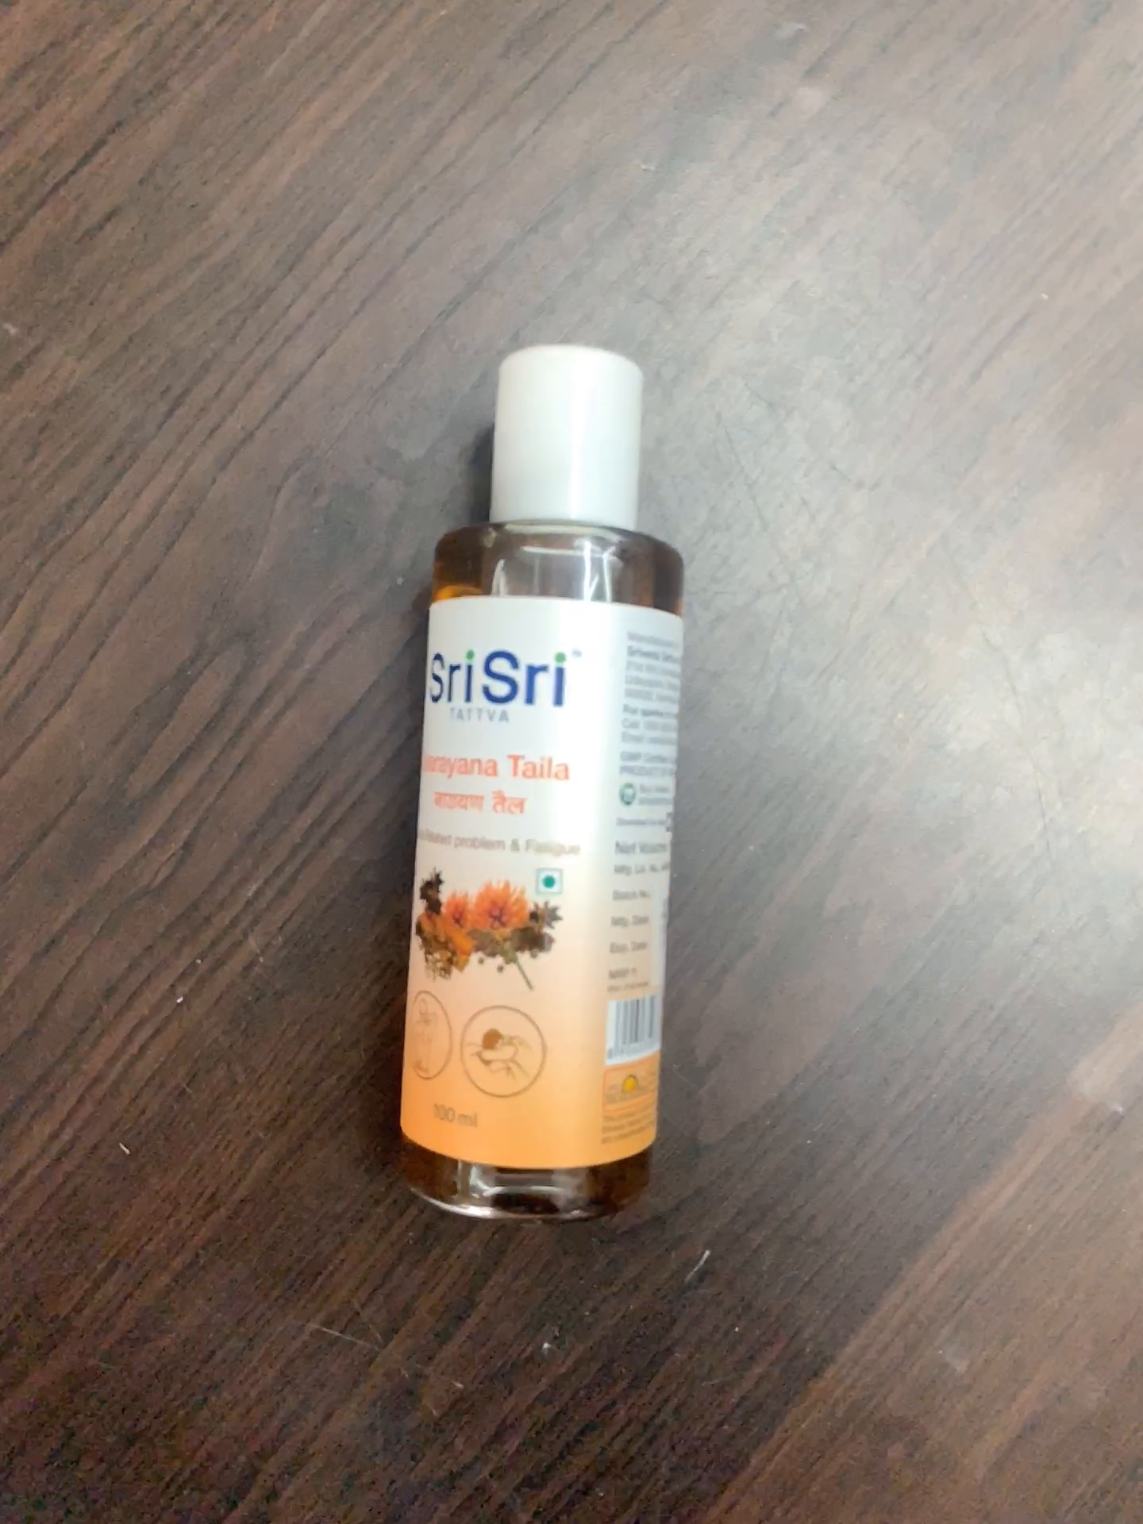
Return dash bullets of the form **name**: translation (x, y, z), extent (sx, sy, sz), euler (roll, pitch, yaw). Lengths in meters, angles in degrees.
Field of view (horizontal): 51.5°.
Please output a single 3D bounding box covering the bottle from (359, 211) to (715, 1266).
- **bottle**: translation (-0.003, -0.003, 0.181), extent (0.040, 0.040, 0.140), euler (2, 90, 15)
